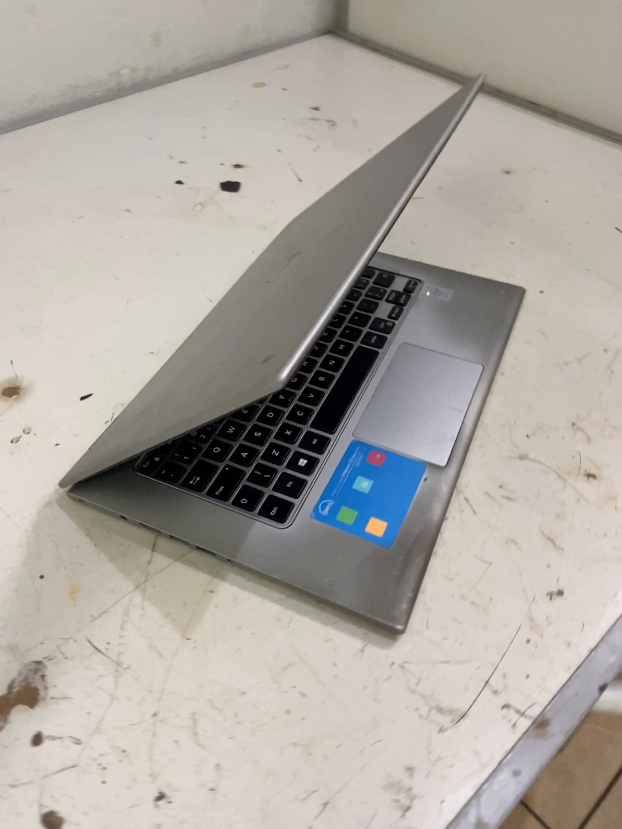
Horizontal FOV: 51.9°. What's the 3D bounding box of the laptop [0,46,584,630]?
[{"bbox_3d":[0.016,-0.084,0.411,0.218,0.155,0.328,18,50,16],"label":"laptop"}]
